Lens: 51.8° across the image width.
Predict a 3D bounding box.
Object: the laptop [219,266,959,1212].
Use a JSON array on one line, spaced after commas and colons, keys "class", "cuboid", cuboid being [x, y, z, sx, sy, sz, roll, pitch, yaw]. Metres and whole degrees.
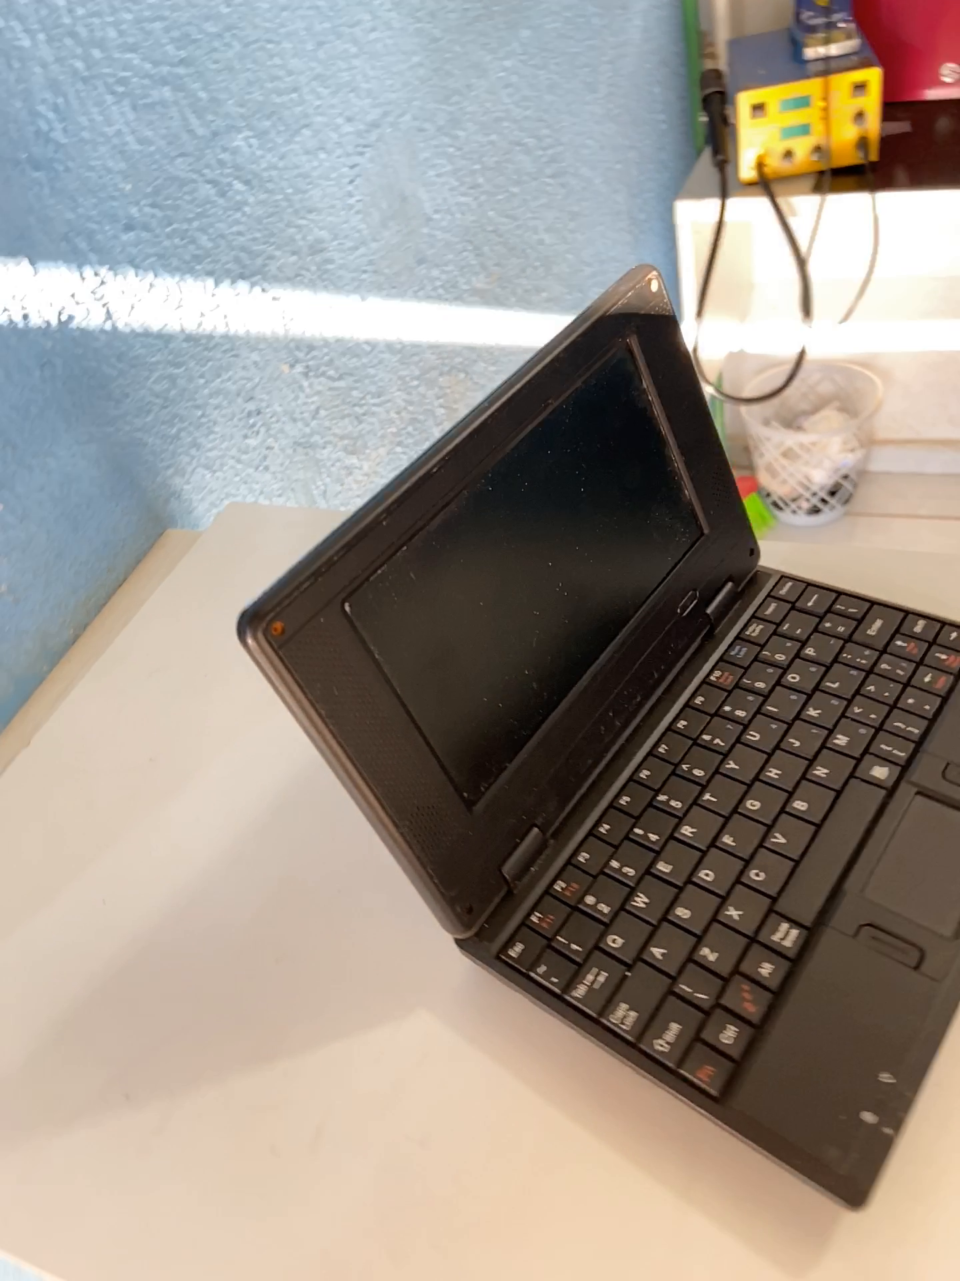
[{"class": "laptop", "cuboid": [0.080, 0.005, 0.315, 0.179, 0.137, 0.217, 22, 55, 34]}]
